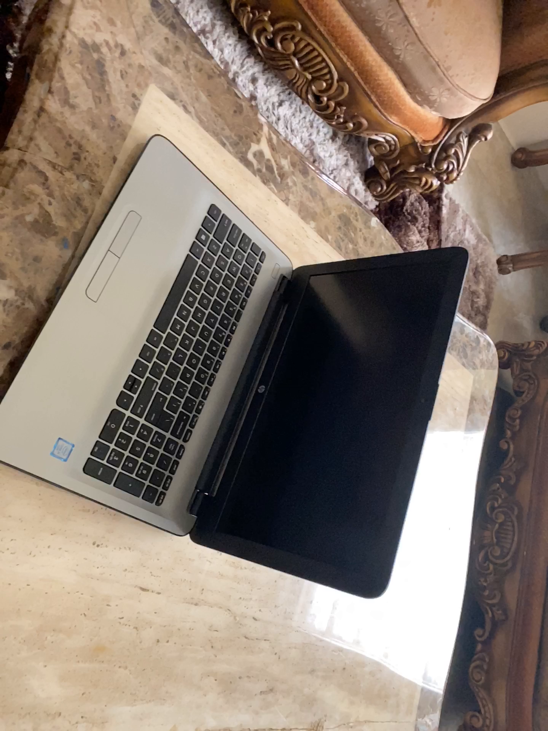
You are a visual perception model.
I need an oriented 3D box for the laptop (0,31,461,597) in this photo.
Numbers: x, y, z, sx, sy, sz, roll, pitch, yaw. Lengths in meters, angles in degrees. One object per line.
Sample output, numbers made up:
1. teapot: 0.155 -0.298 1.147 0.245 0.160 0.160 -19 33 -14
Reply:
1. laptop: -0.022 -0.029 0.536 0.266 0.240 0.372 39 62 -39
